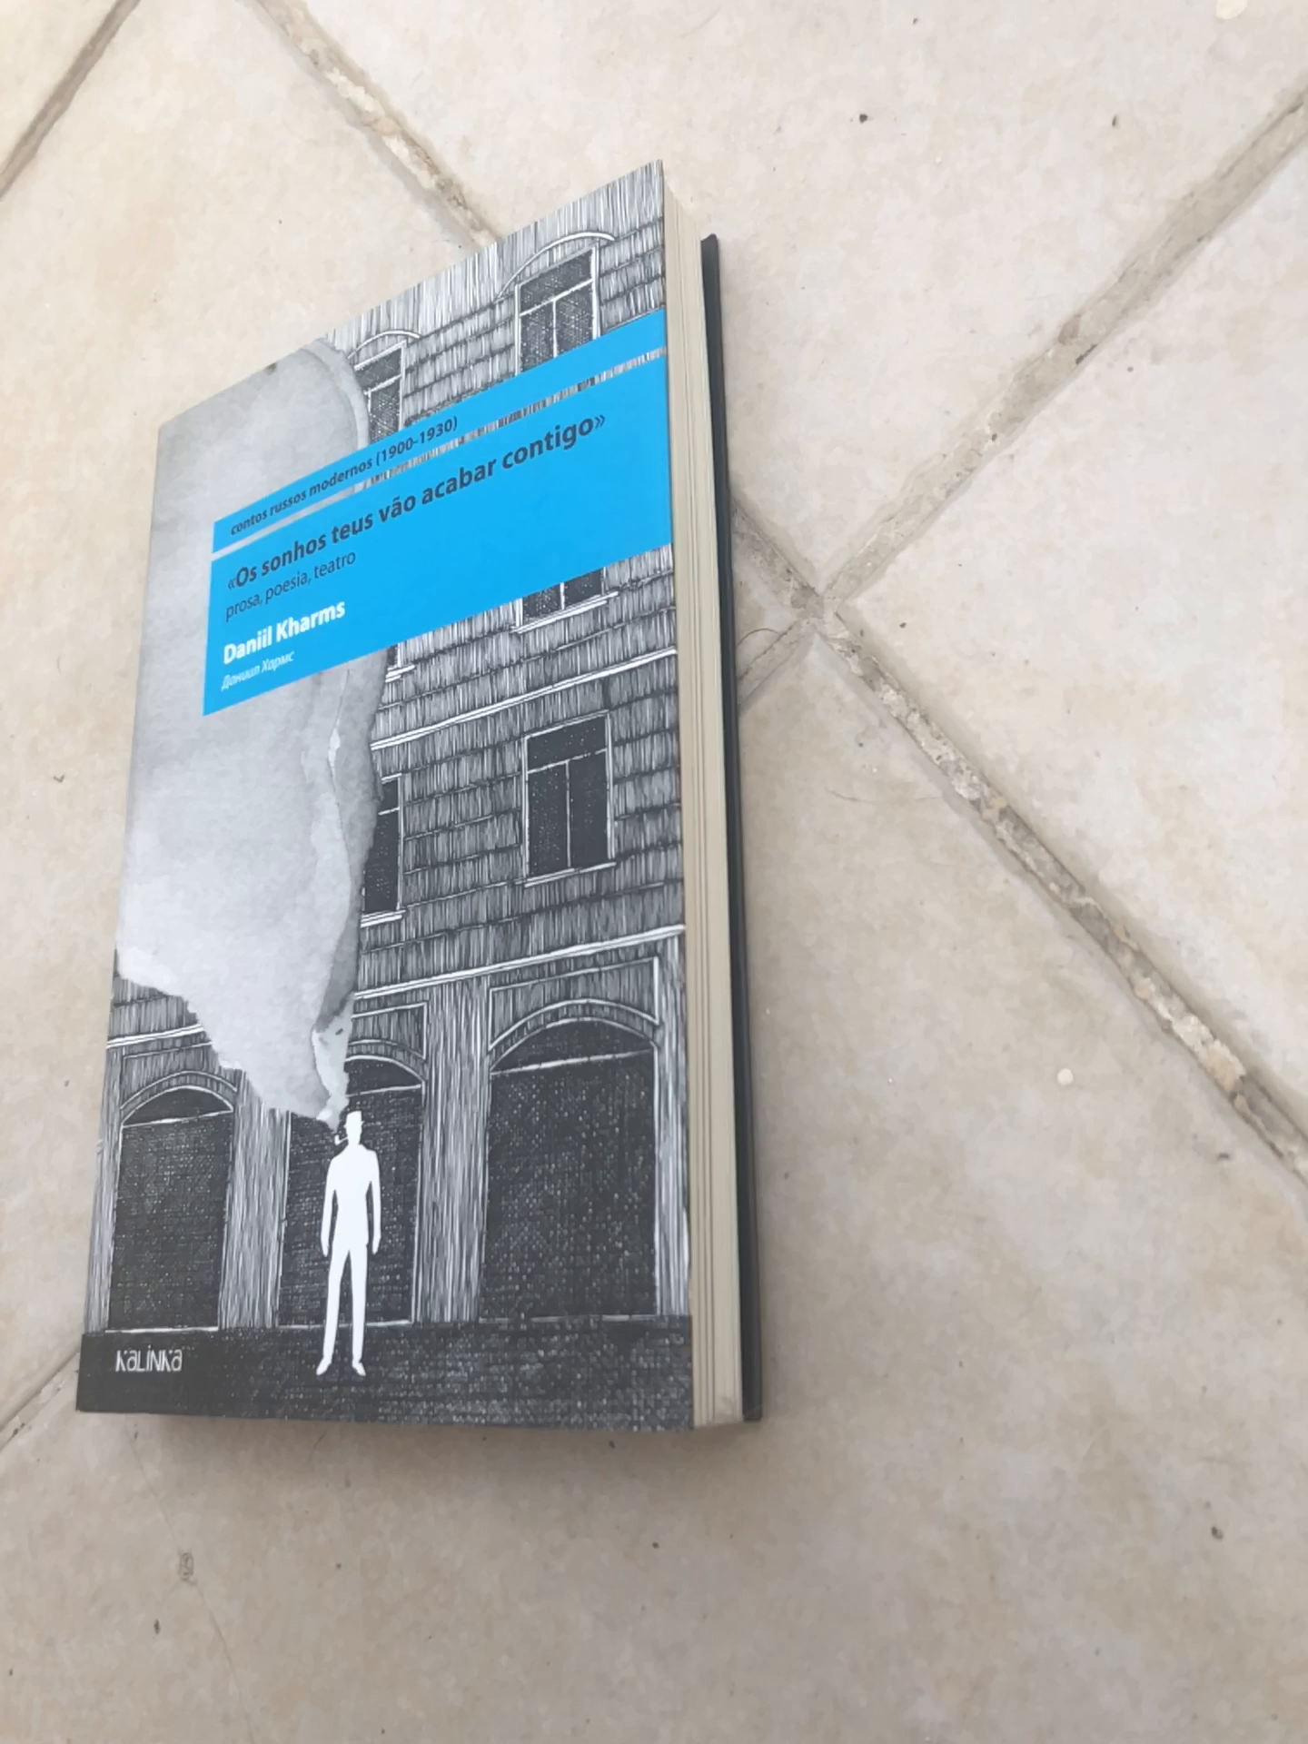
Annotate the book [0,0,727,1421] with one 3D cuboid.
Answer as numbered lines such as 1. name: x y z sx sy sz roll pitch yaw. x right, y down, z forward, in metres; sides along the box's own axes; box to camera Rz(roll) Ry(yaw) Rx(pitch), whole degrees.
1. book: -0.055 -0.019 0.197 0.120 0.040 0.170 -12 70 32
